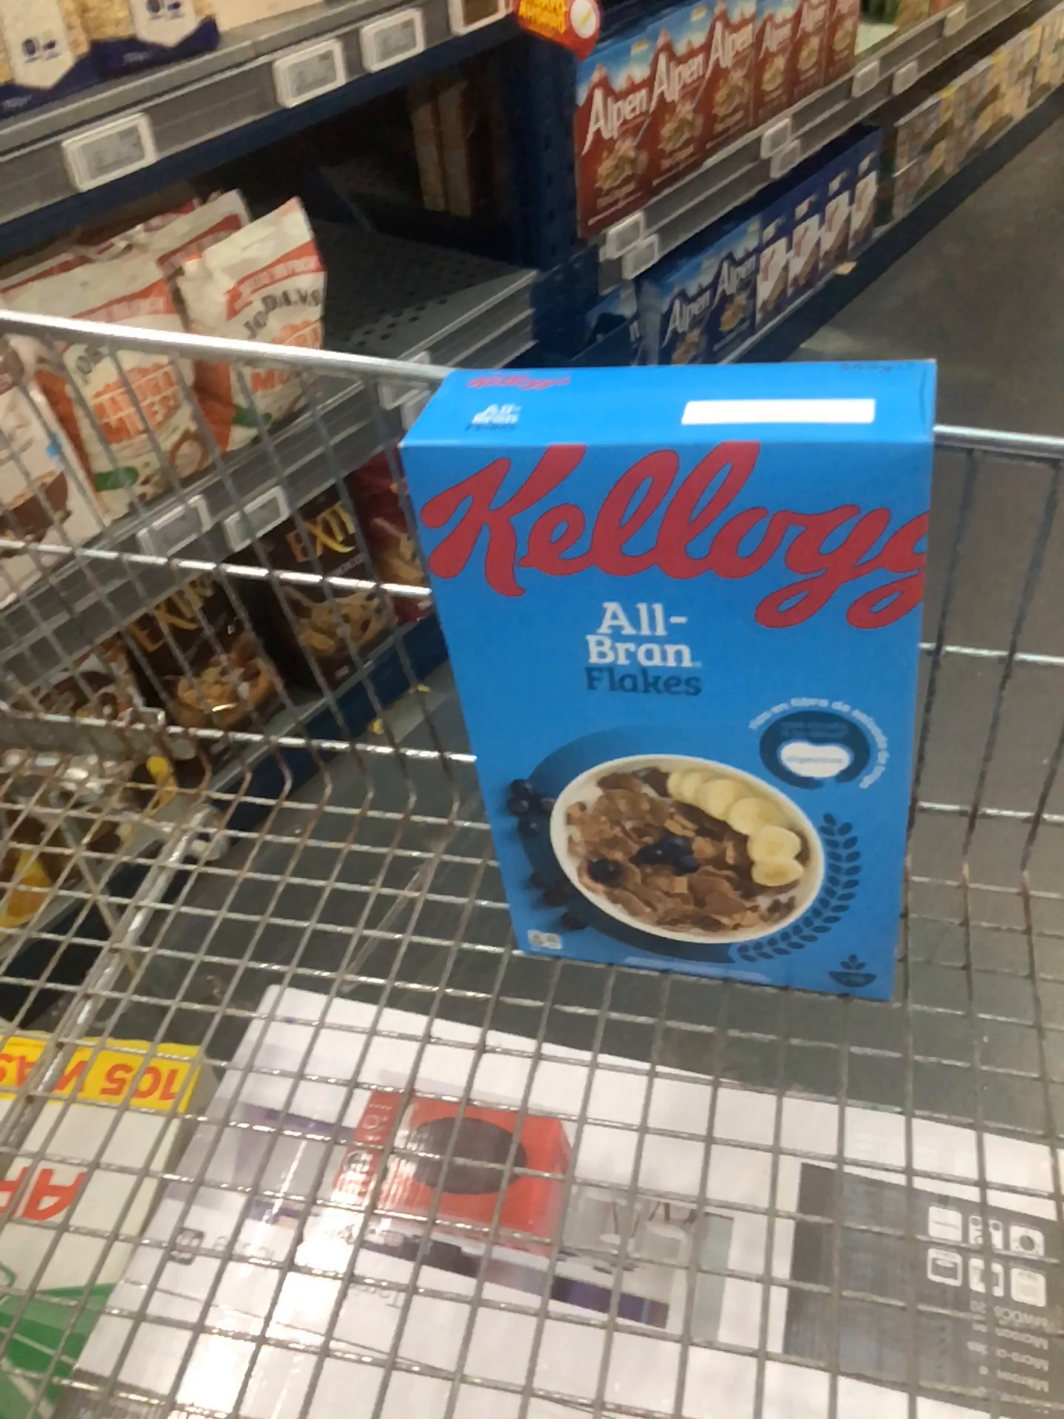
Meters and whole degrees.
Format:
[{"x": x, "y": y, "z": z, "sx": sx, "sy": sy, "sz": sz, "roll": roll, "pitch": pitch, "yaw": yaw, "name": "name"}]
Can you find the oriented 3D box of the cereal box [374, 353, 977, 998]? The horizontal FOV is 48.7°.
[{"x": 0.065, "y": -0.005, "z": 0.502, "sx": 0.200, "sy": 0.269, "sz": 0.080, "roll": 3, "pitch": 40, "yaw": 14, "name": "cereal box"}]
